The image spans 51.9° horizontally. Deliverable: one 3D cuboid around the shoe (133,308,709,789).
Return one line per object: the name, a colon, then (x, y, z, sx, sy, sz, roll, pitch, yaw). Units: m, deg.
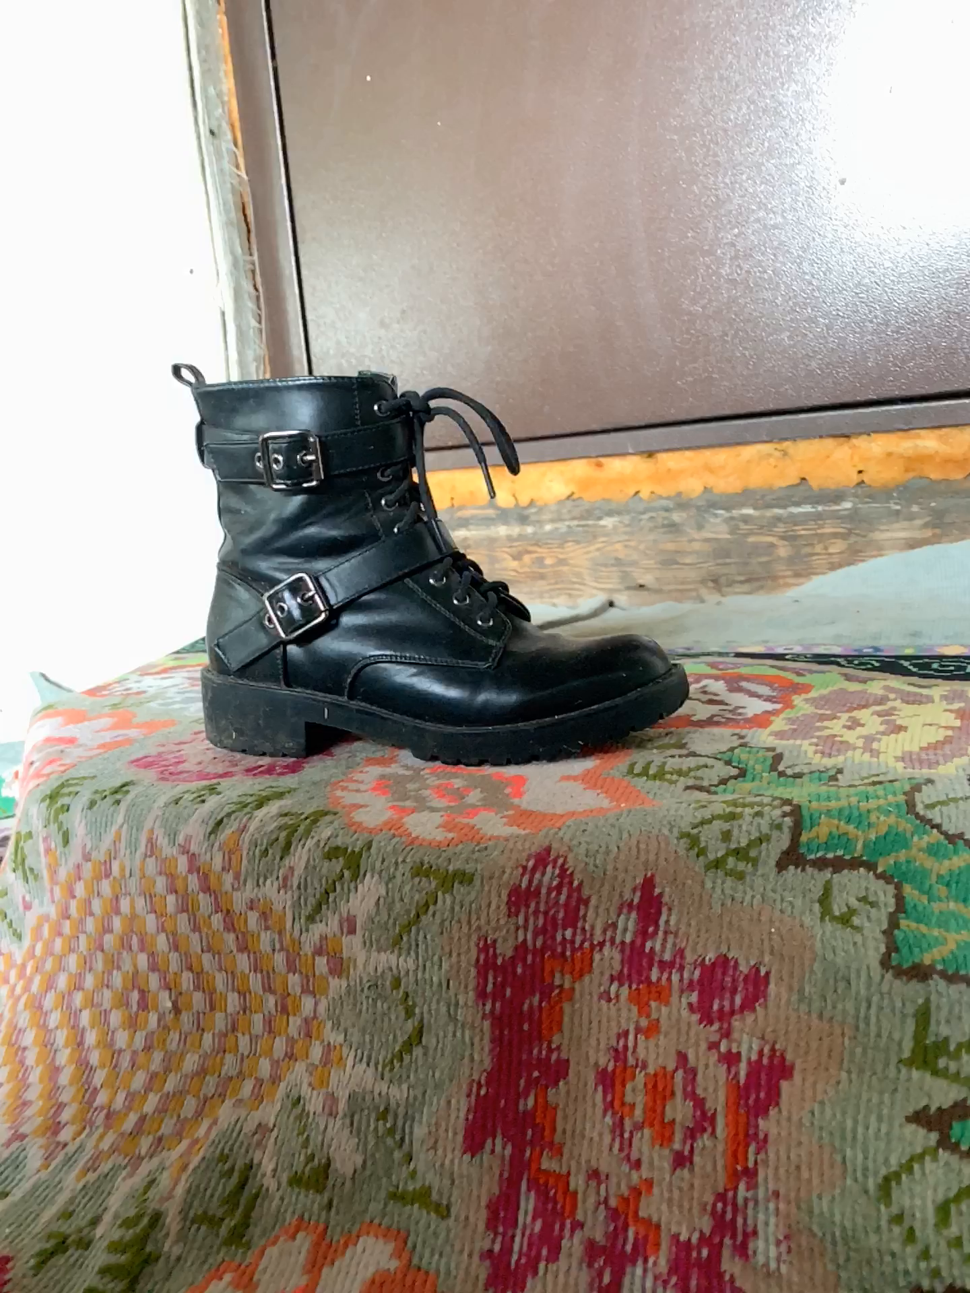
shoe: (-0.026, -0.041, 0.475, 0.240, 0.189, 0.090, -2, 9, 20)
